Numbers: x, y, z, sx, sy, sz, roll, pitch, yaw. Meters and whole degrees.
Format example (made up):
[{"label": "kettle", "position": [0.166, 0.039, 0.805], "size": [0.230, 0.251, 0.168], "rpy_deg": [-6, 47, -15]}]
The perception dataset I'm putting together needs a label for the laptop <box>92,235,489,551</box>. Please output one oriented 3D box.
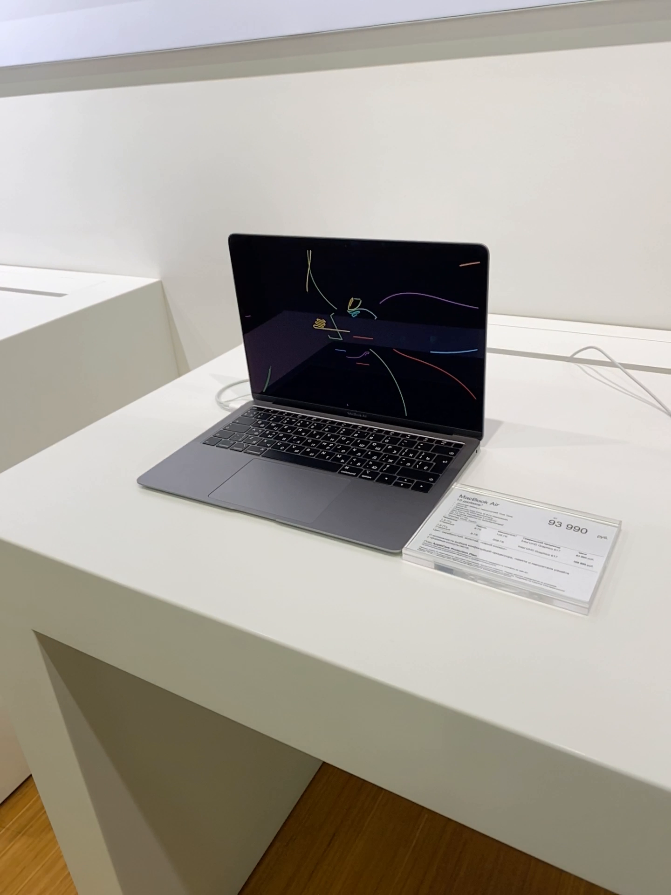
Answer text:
[{"label": "laptop", "position": [-0.031, -0.080, 0.690], "size": [0.302, 0.211, 0.225], "rpy_deg": [11, 30, 28]}]
